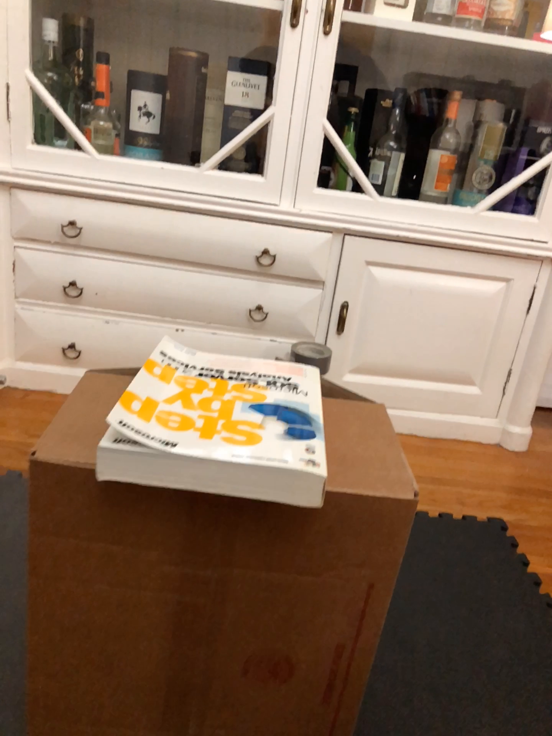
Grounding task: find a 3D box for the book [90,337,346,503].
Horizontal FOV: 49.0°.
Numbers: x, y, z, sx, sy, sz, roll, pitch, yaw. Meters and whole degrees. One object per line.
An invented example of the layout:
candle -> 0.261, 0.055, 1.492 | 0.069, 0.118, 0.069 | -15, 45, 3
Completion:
book -> -0.050, 0.038, 0.595 | 0.200, 0.050, 0.241 | 4, 21, -4
